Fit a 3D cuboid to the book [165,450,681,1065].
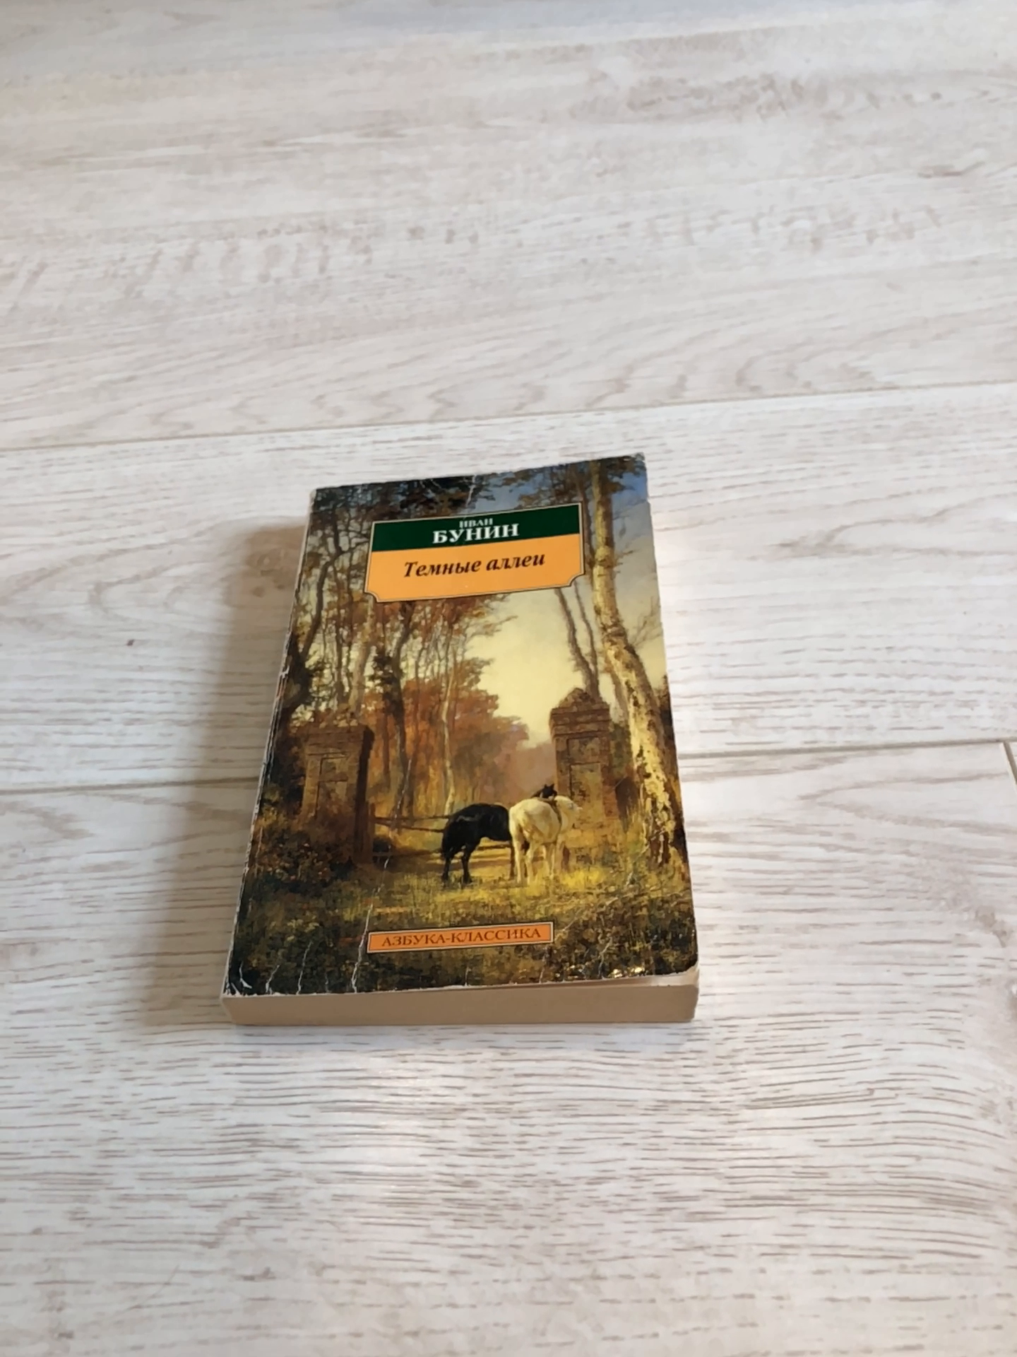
[{"bbox_3d":[-0.018,0.010,0.307,0.112,0.024,0.177,-4,51,6],"label":"book"}]
